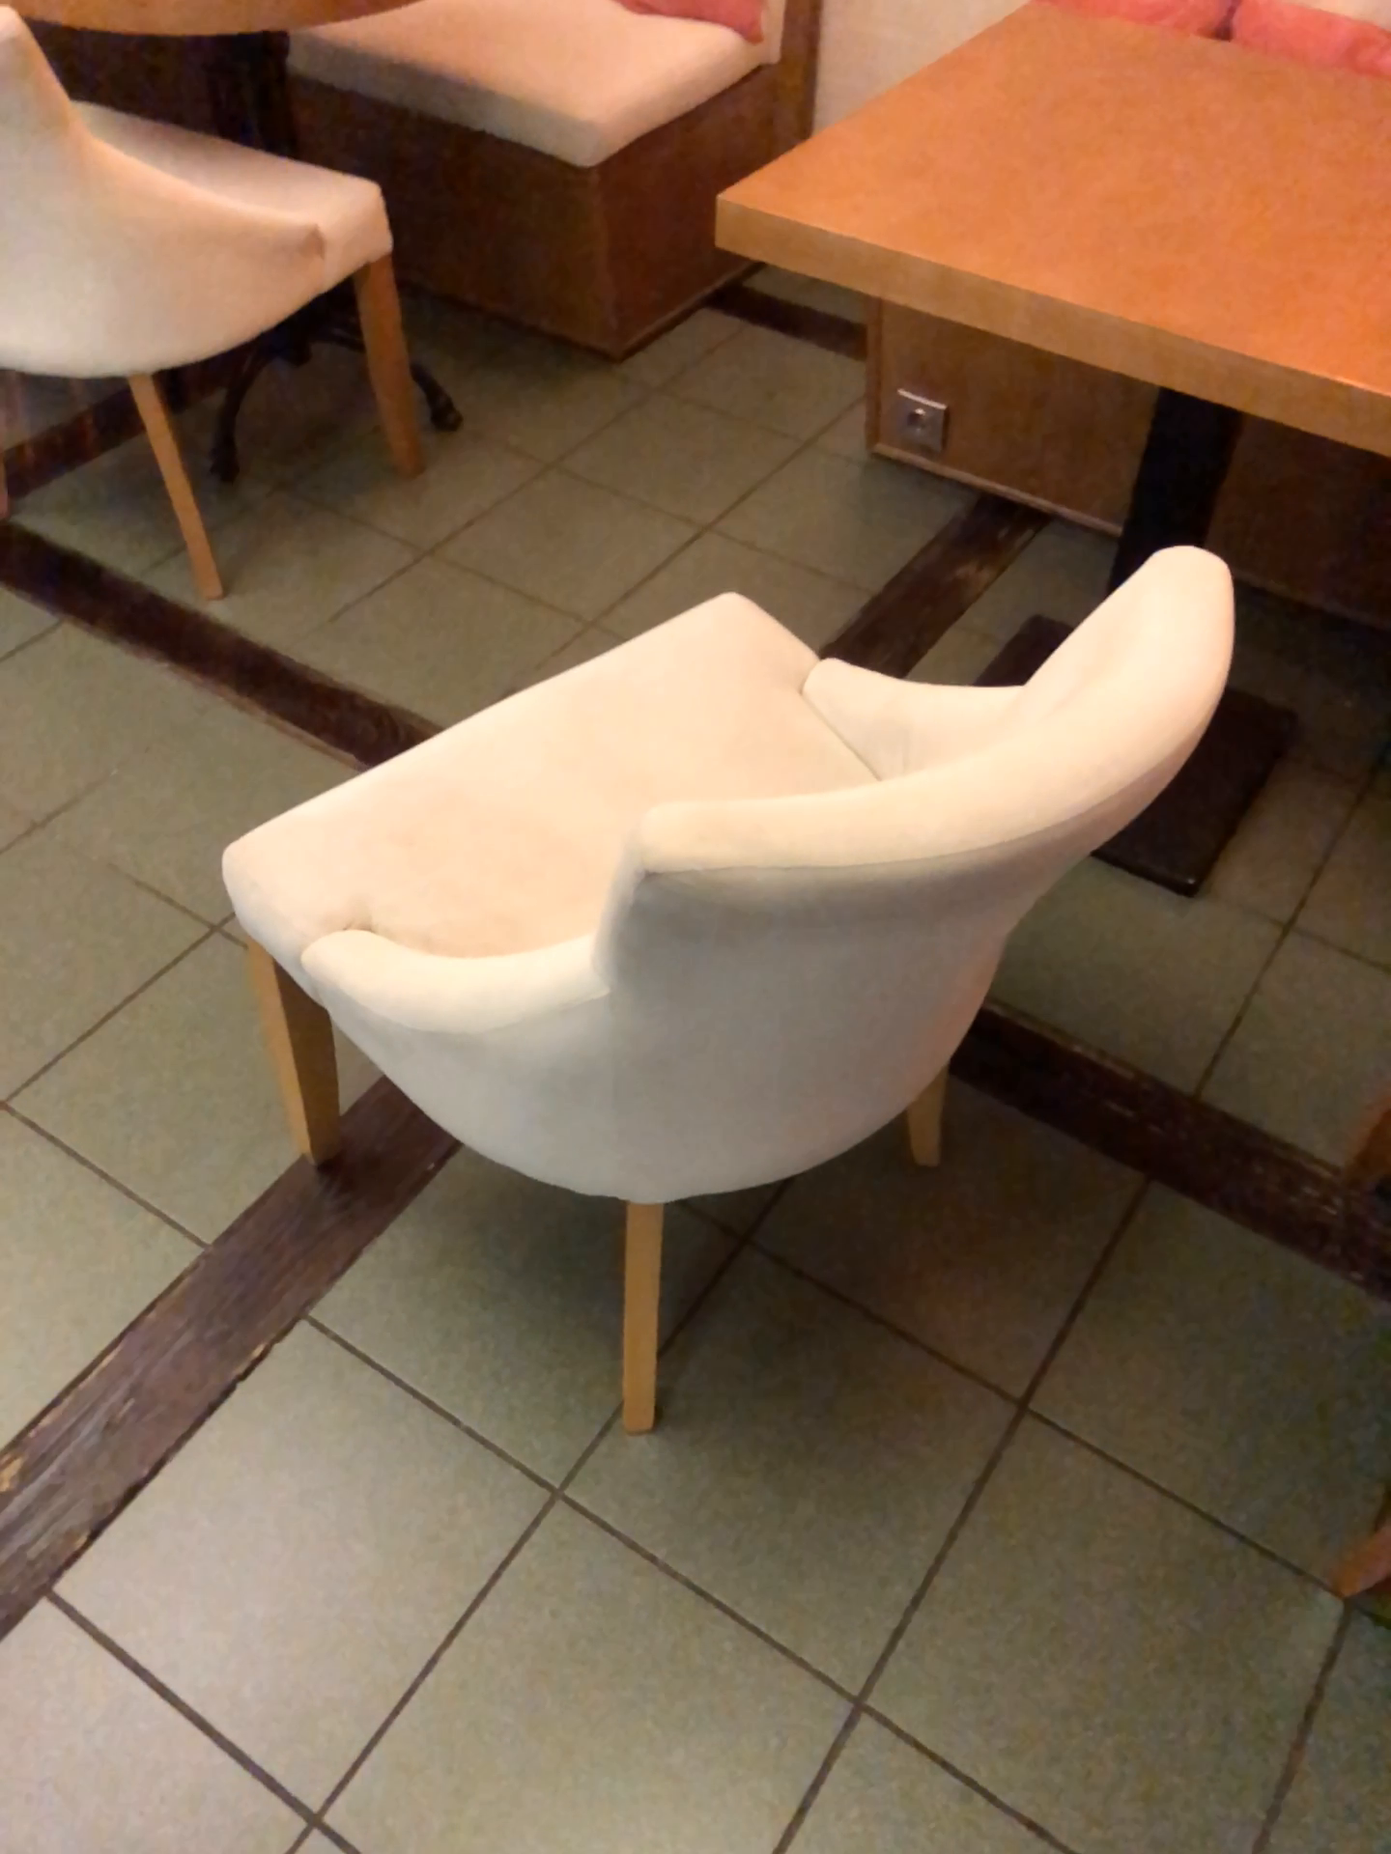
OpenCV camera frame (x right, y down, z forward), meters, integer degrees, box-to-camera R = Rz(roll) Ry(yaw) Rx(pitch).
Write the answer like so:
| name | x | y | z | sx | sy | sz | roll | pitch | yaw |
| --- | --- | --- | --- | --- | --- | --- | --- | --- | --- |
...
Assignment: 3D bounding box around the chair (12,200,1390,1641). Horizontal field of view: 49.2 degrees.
| name | x | y | z | sx | sy | sz | roll | pitch | yaw |
| --- | --- | --- | --- | --- | --- | --- | --- | --- | --- |
| chair | 0.007 | -0.025 | 1.236 | 0.631 | 0.736 | 0.662 | -33 | 56 | -28 |
